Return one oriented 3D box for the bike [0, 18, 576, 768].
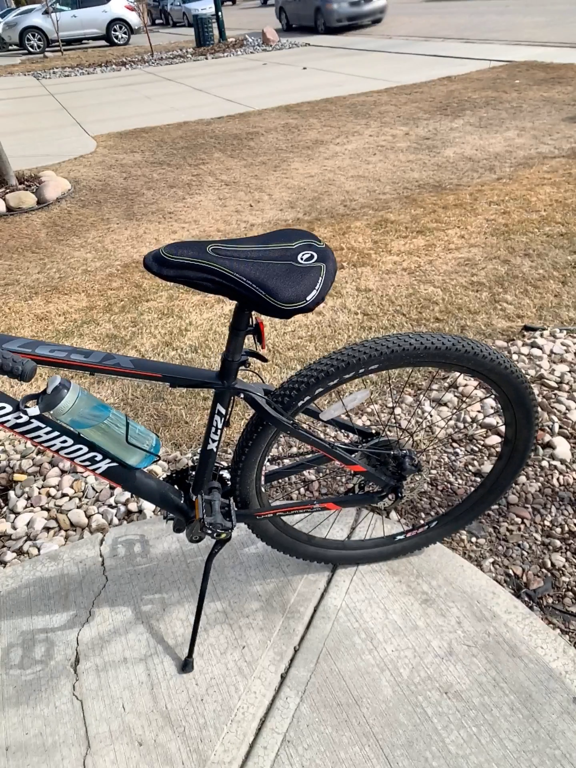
[{"bbox_3d":[-0.246,0.170,0.962,1.479,1.004,0.603,-17,35,-7],"label":"bike"}]
